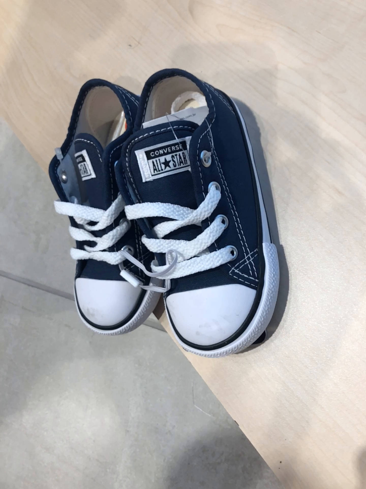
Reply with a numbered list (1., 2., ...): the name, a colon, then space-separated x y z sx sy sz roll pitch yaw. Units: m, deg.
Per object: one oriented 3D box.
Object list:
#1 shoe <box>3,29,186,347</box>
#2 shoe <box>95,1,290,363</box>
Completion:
1. shoe: -0.054 -0.031 0.262 0.080 0.060 0.170 3 86 31
2. shoe: 0.004 -0.026 0.232 0.080 0.060 0.170 -8 81 29
